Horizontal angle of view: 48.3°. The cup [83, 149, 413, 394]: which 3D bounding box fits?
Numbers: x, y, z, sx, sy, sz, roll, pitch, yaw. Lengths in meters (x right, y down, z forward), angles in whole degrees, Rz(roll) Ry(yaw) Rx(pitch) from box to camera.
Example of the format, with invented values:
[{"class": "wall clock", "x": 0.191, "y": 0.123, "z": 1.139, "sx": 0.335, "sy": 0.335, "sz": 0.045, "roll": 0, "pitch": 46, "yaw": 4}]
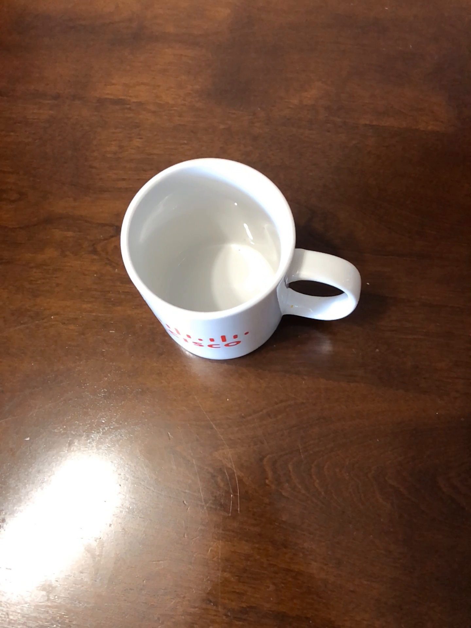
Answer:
[{"class": "cup", "x": 0.009, "y": -0.016, "z": 0.268, "sx": 0.130, "sy": 0.090, "sz": 0.080, "roll": 8, "pitch": 73, "yaw": 6}]
